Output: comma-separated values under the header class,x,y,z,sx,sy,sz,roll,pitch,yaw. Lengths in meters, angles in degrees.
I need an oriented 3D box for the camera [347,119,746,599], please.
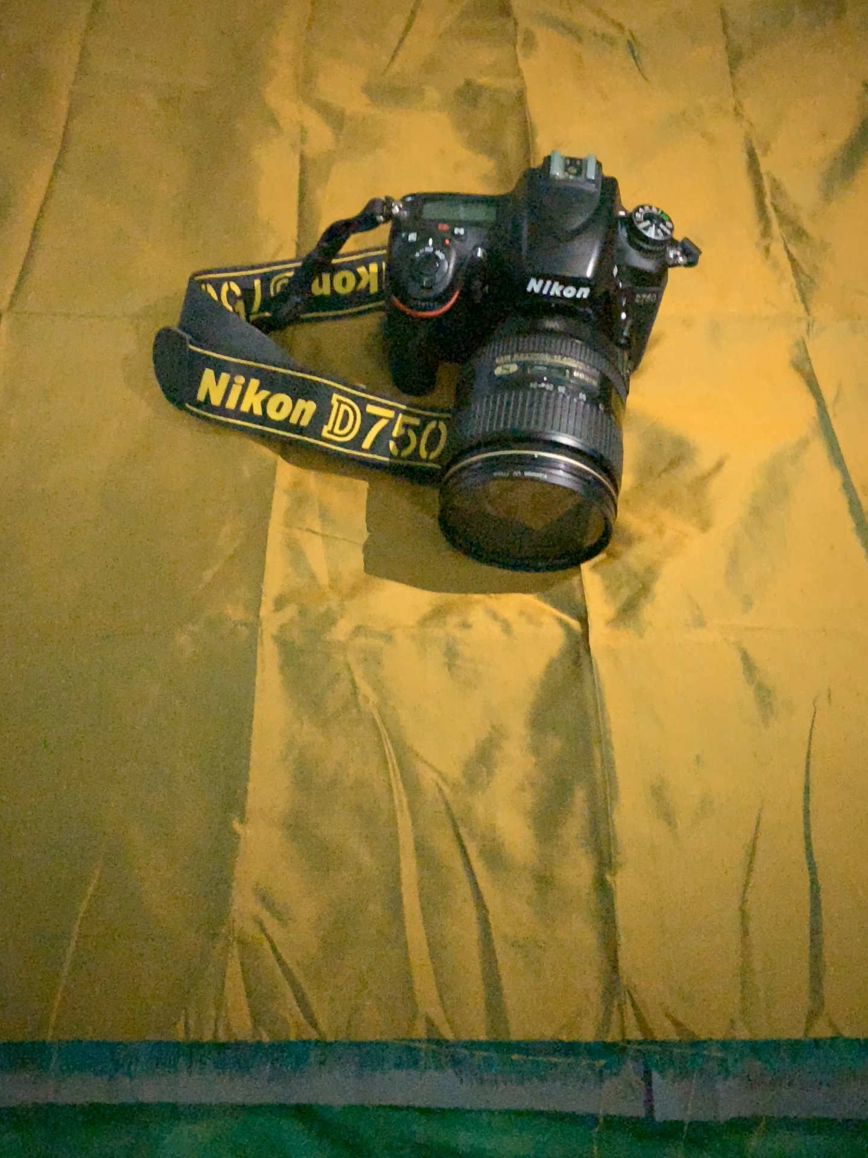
class,x,y,z,sx,sy,sz,roll,pitch,yaw
camera,0.051,-0.106,0.424,0.150,0.101,0.190,6,61,2
